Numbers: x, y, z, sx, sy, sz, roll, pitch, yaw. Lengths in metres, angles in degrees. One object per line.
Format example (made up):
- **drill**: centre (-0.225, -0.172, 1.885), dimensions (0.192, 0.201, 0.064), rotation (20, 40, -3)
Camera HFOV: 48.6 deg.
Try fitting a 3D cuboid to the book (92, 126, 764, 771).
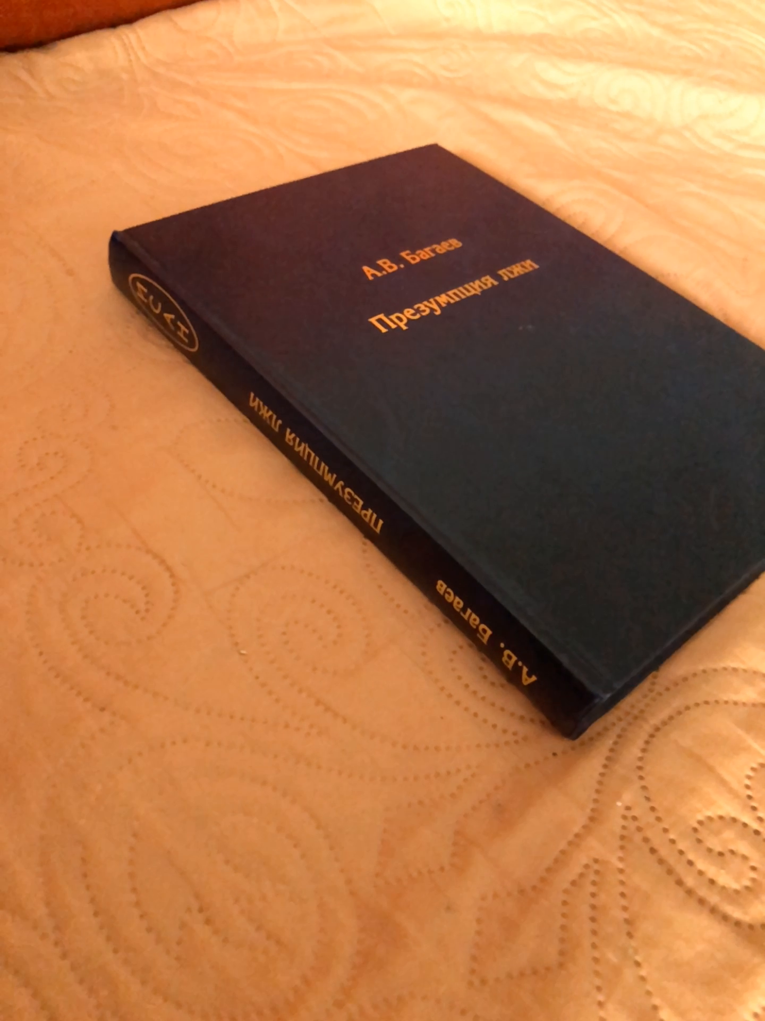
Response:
- **book**: centre (0.038, -0.059, 0.325), dimensions (0.181, 0.030, 0.261), rotation (-30, 60, -30)
